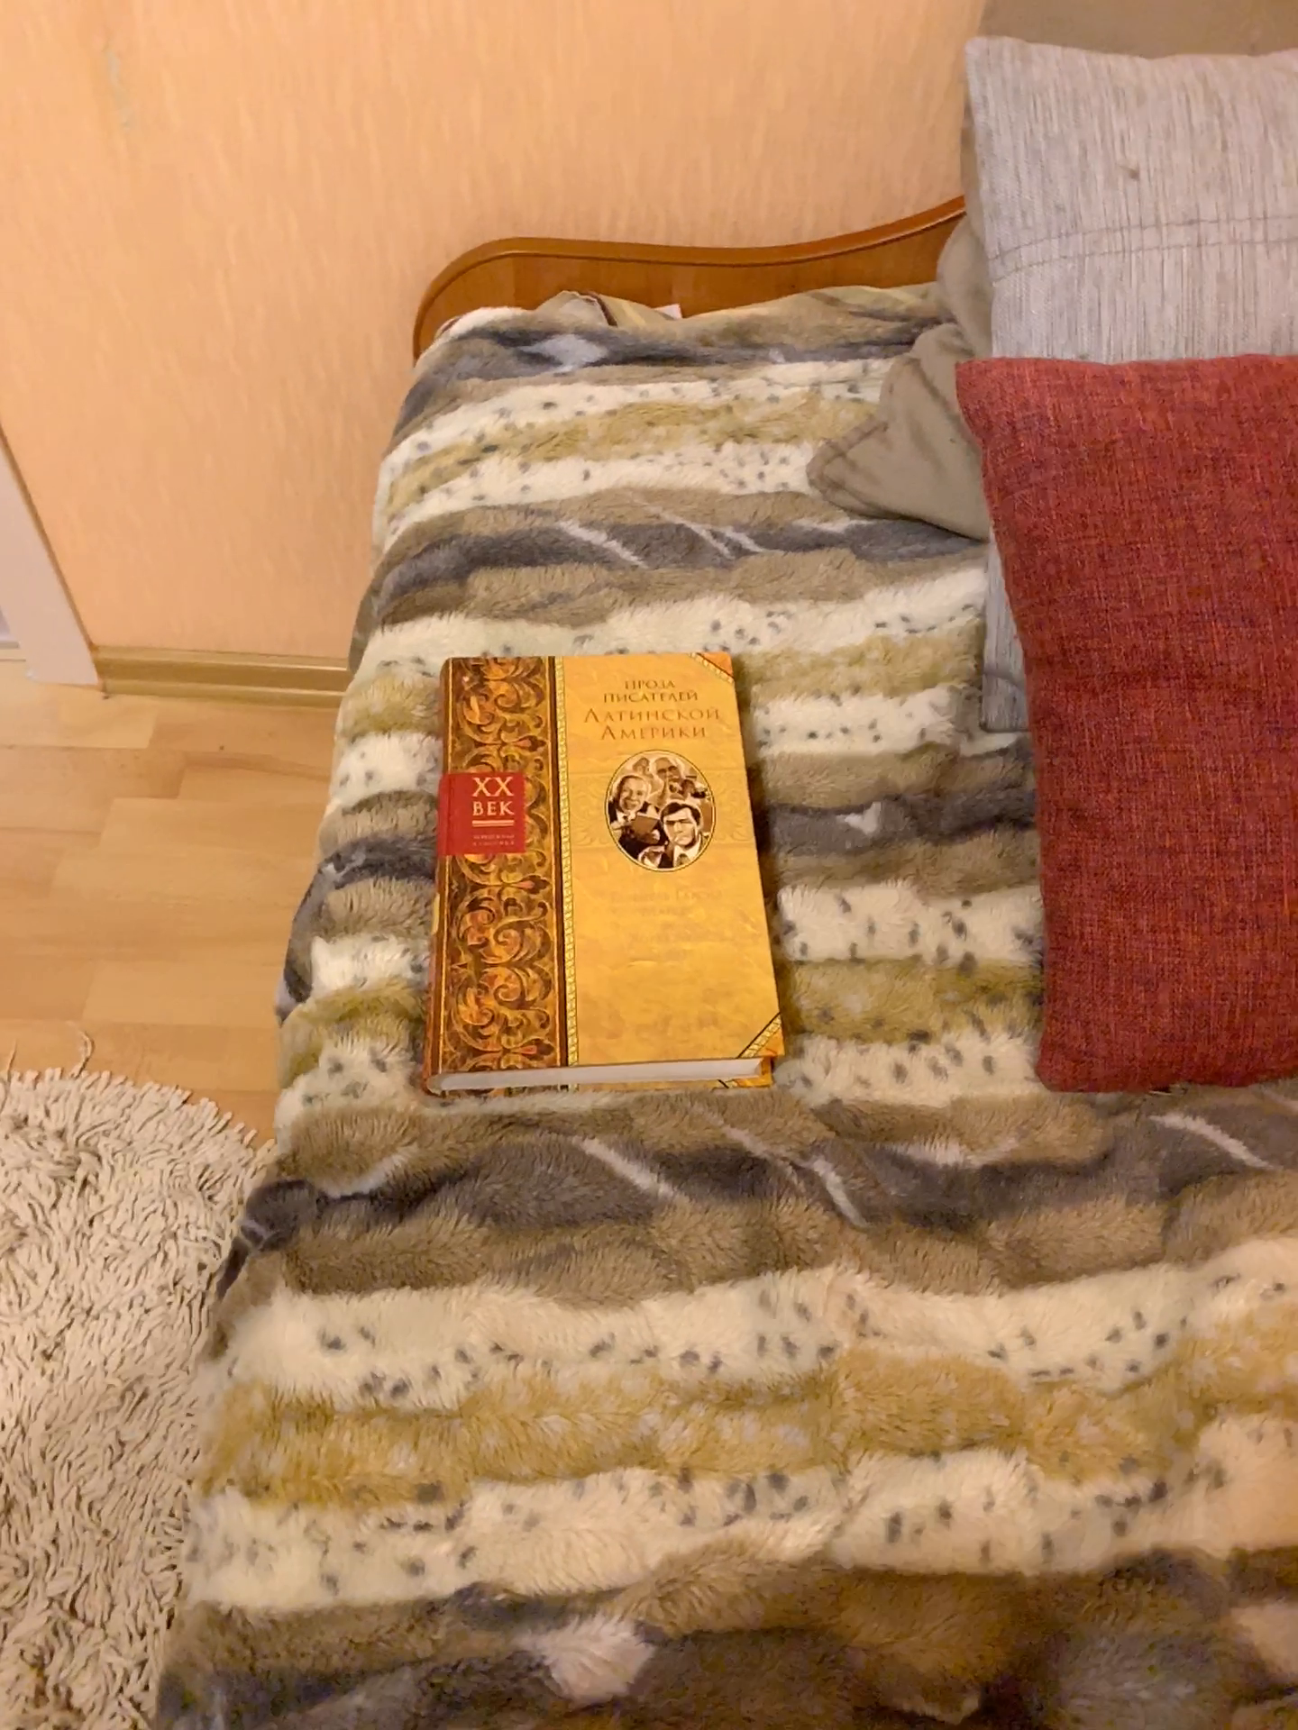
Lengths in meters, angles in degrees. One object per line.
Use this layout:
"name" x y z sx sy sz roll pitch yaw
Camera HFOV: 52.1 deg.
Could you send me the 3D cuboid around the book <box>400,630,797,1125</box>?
"book" -0.031 -0.004 0.704 0.180 0.060 0.272 -2 55 -4
